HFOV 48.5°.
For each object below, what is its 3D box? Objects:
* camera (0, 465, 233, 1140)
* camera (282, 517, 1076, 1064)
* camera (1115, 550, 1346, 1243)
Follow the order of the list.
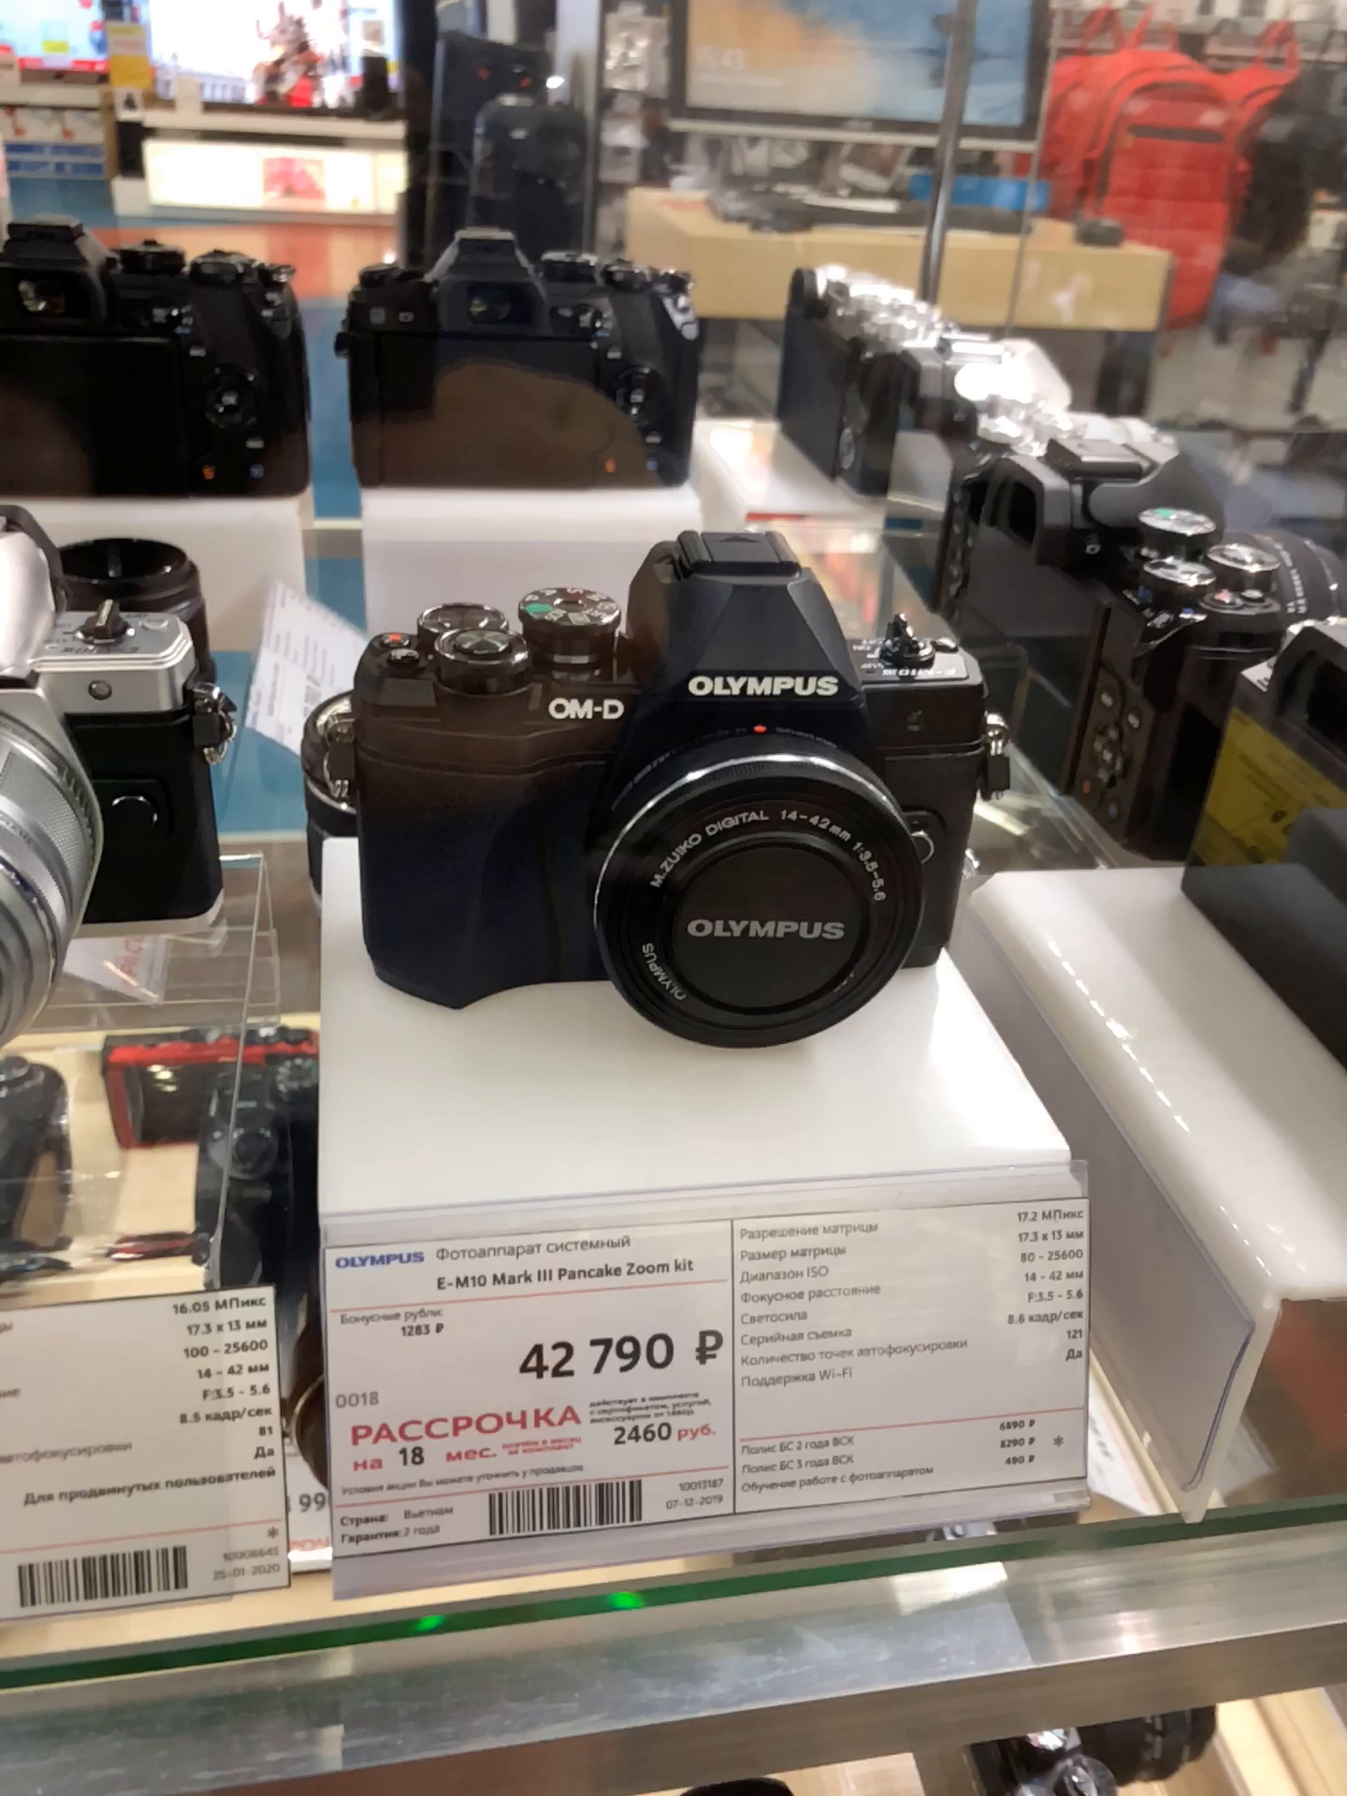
[{"bbox_3d":[-0.144,-0.022,0.261,0.112,0.080,0.094,-1,30,-8],"label":"camera"},{"bbox_3d":[-0.003,-0.023,0.289,0.129,0.082,0.064,-1,30,-8],"label":"camera"},{"bbox_3d":[0.162,-0.010,0.285,0.094,0.074,0.124,-3,31,-11],"label":"camera"}]
